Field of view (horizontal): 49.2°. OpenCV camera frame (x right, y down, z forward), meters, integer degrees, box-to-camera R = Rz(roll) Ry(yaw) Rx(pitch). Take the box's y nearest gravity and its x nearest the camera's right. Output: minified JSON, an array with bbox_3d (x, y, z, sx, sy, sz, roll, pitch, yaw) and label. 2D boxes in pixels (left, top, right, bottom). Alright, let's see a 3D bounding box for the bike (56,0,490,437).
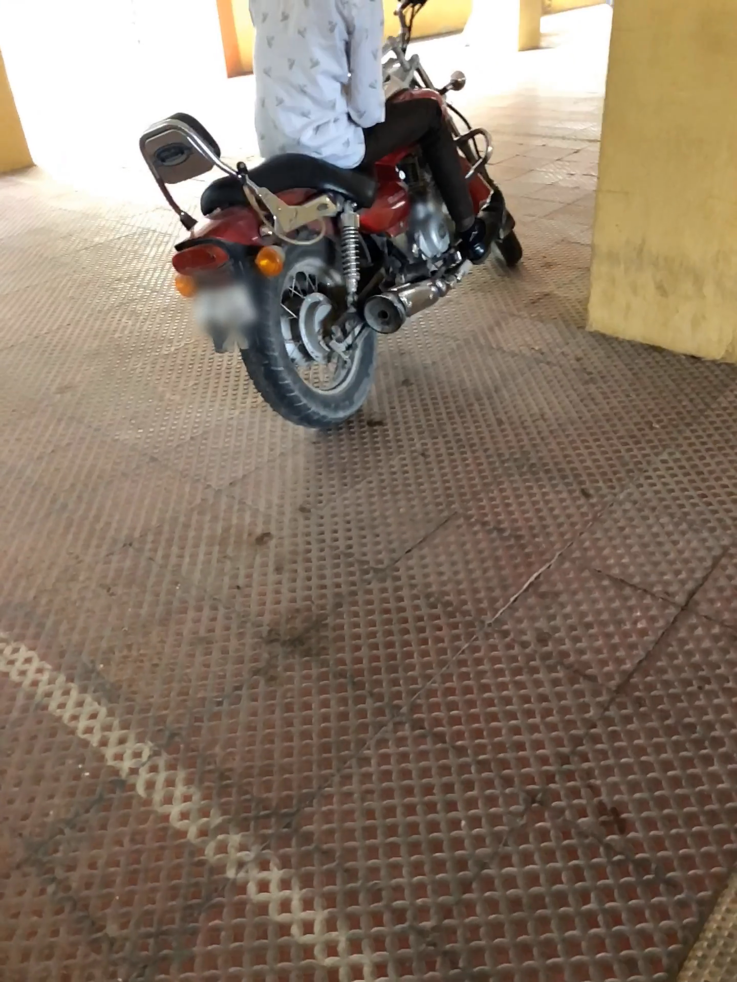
[{"bbox_3d":[-0.117,-1.200,2.559,0.756,1.048,1.659,7,41,16],"label":"bike"}]
